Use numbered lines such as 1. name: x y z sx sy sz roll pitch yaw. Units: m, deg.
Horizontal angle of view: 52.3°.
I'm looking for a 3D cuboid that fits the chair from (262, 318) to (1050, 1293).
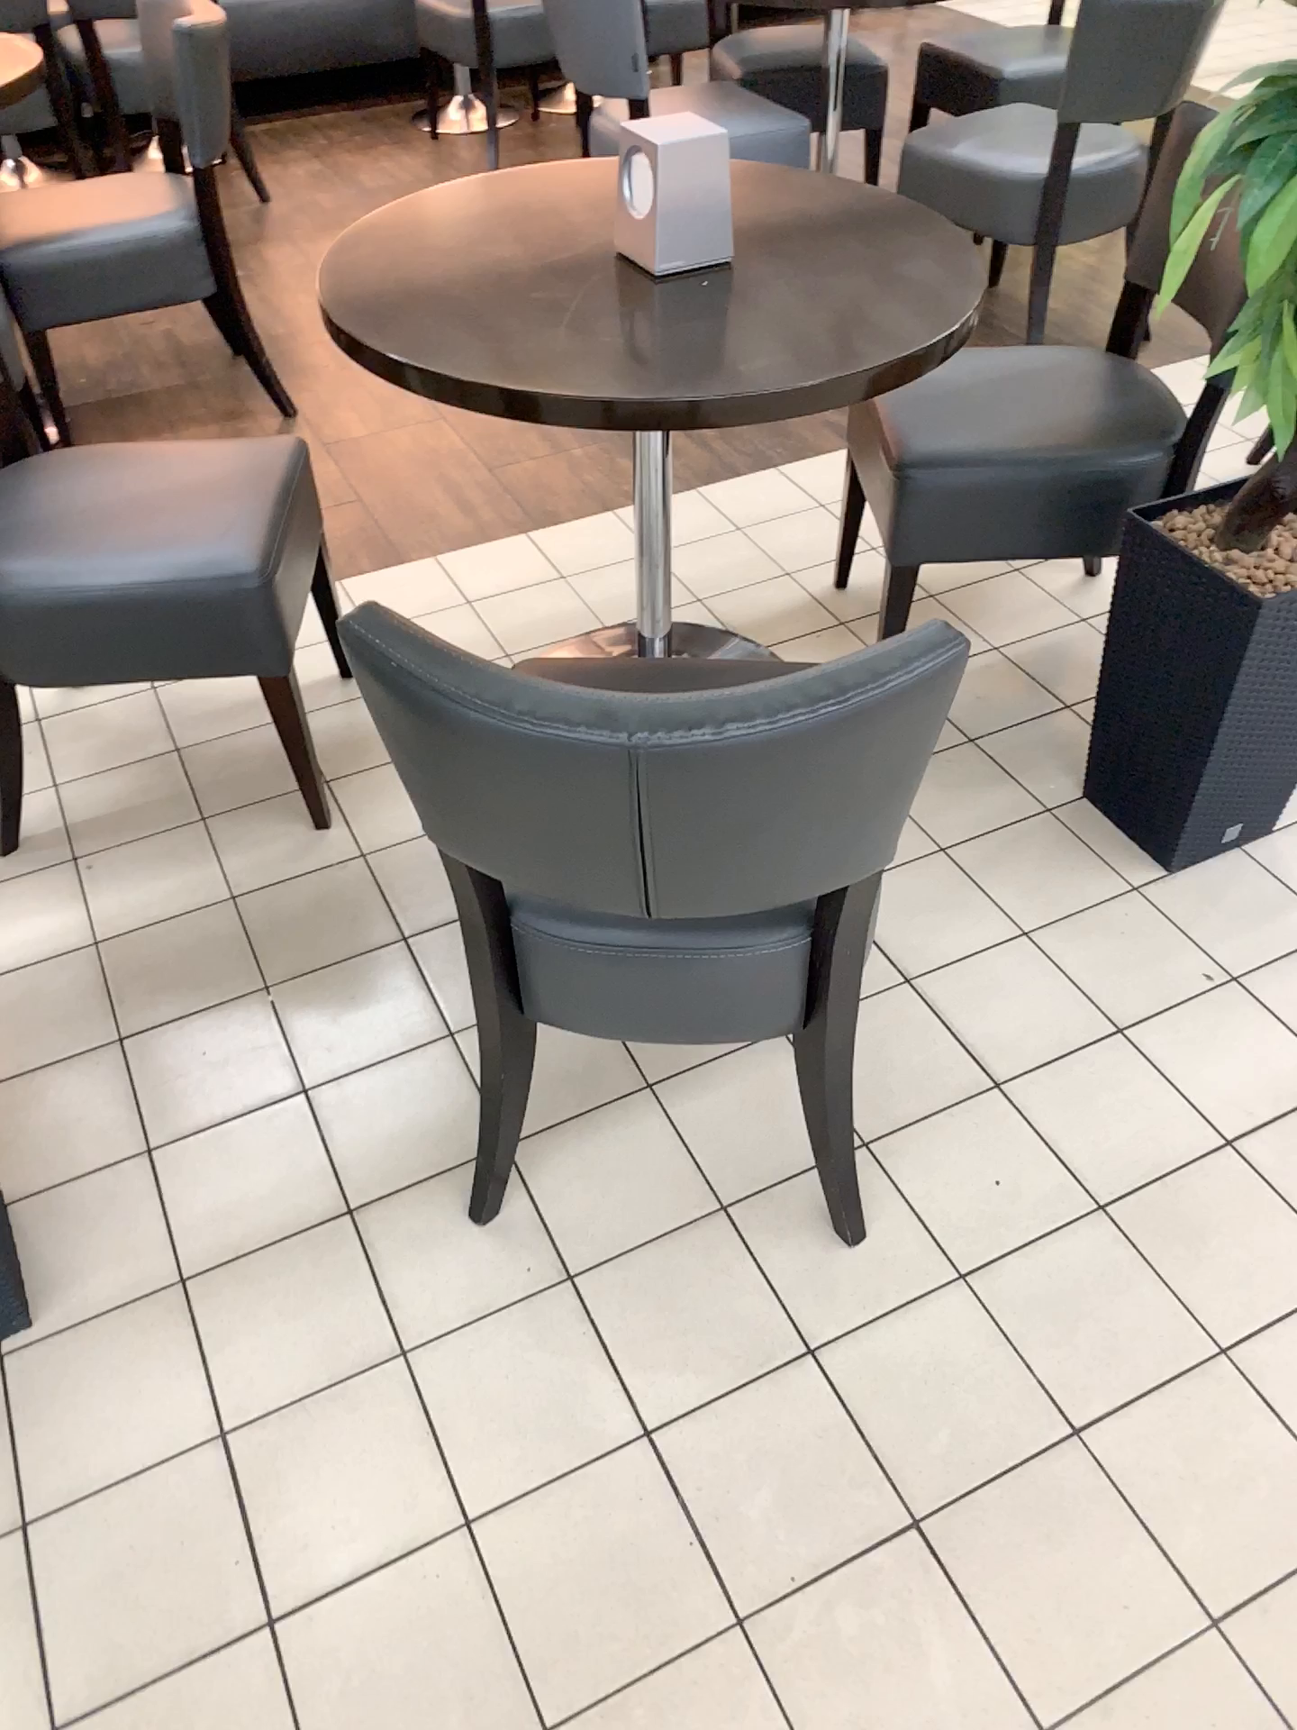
1. chair: 0.039 -0.060 1.421 0.550 0.796 0.643 3 43 5
